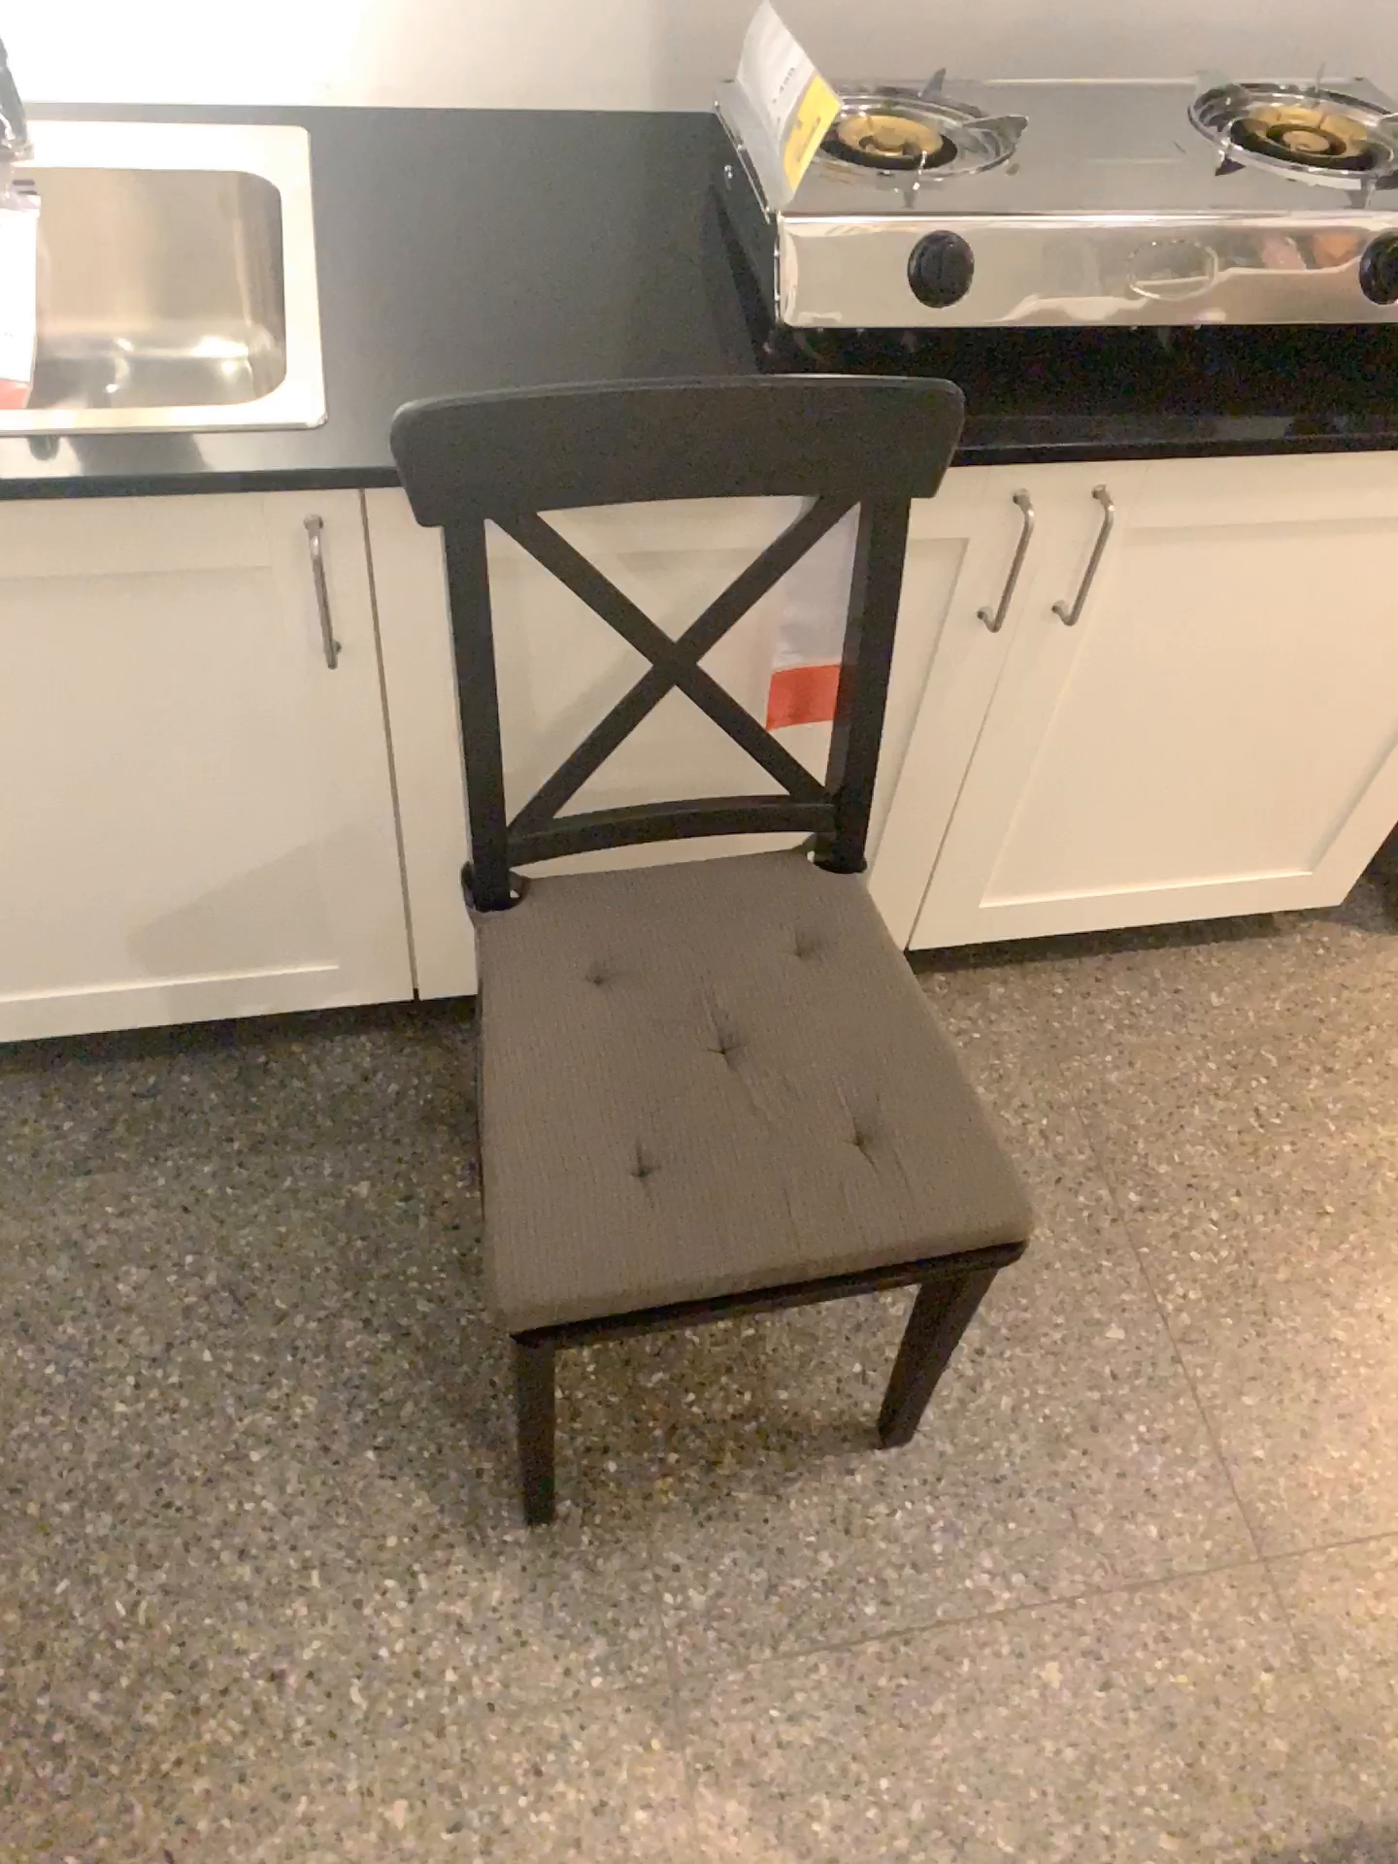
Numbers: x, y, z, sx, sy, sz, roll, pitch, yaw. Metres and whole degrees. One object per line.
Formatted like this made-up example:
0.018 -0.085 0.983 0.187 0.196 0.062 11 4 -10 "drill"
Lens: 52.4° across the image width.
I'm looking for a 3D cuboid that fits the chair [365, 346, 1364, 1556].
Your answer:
0.019 0.064 1.081 0.420 0.788 0.491 -8 53 -13 "chair"
